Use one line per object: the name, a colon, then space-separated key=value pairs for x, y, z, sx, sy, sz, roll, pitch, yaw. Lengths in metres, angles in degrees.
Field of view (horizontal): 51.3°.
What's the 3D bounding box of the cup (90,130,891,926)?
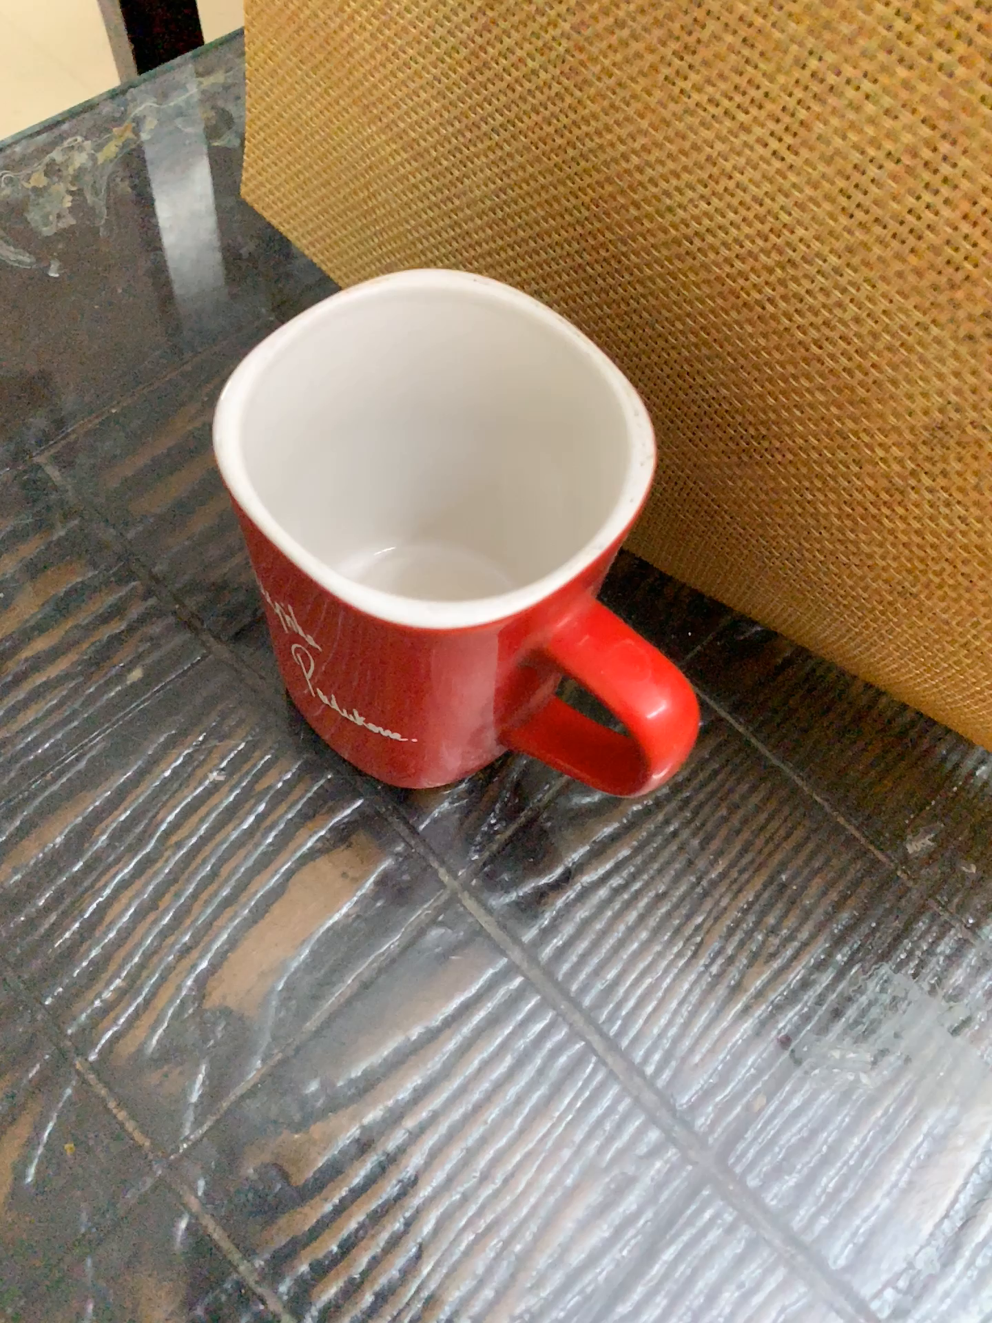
cup: x=-0.004 y=-0.019 z=0.189 sx=0.096 sy=0.085 sz=0.070 roll=40 pitch=66 yaw=13
